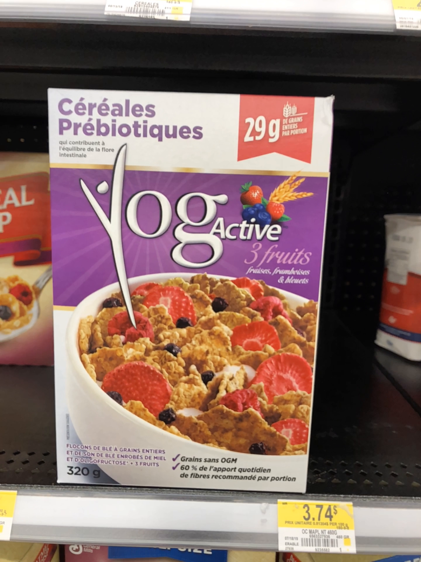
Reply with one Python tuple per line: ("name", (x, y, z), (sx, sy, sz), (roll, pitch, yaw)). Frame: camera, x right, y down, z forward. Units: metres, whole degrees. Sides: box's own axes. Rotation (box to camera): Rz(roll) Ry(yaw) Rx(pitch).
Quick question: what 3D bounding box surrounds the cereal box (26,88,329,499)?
("cereal box", (-0.025, 0.013, 0.349), (0.190, 0.279, 0.060), (2, 11, 1))
